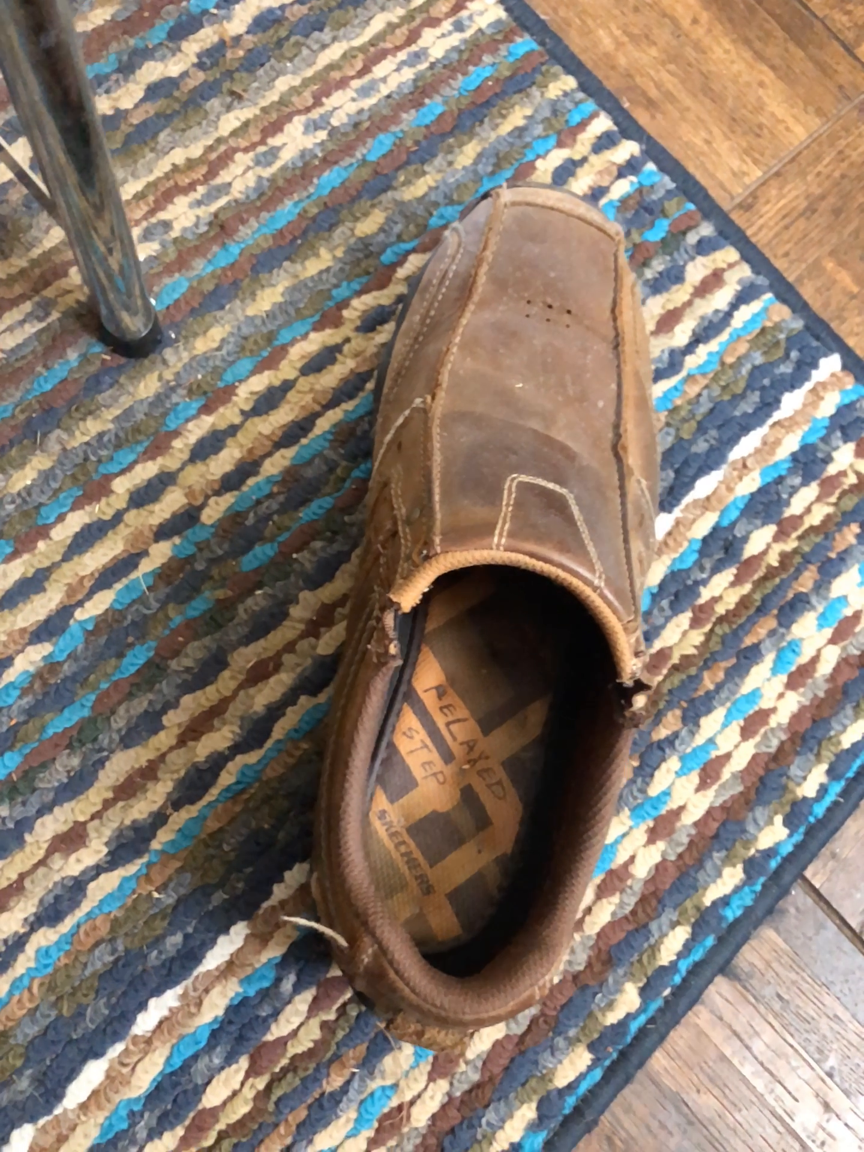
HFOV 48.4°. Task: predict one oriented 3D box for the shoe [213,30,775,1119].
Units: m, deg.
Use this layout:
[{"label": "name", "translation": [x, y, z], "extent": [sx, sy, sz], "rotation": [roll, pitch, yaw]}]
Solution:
[{"label": "shoe", "translation": [0.020, -0.006, 0.301], "extent": [0.100, 0.100, 0.280], "rotation": [15, 74, -7]}]
